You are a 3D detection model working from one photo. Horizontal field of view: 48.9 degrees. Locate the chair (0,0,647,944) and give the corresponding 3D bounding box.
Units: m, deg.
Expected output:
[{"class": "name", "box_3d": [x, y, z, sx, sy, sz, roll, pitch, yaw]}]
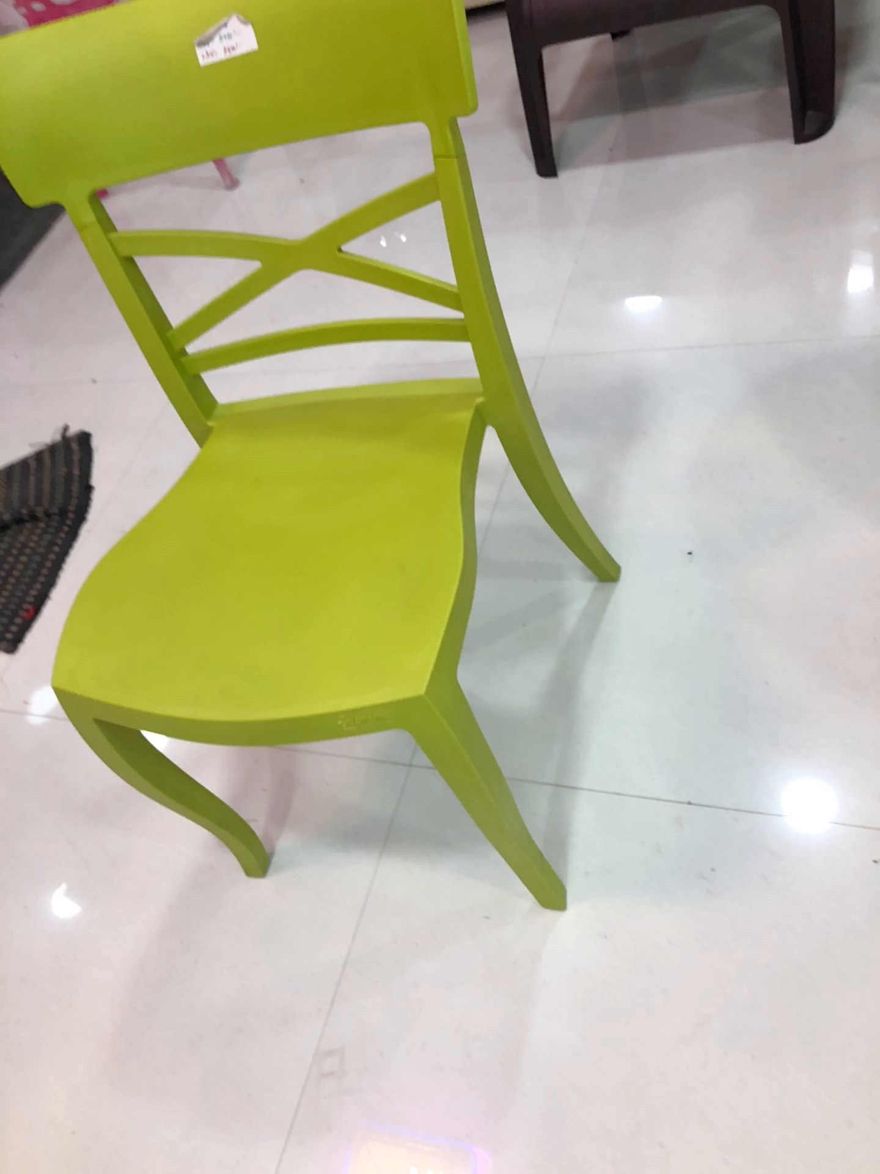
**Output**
[{"class": "chair", "box_3d": [-0.145, -0.121, 0.964, 0.500, 0.806, 0.613, 0, 53, 23]}]
